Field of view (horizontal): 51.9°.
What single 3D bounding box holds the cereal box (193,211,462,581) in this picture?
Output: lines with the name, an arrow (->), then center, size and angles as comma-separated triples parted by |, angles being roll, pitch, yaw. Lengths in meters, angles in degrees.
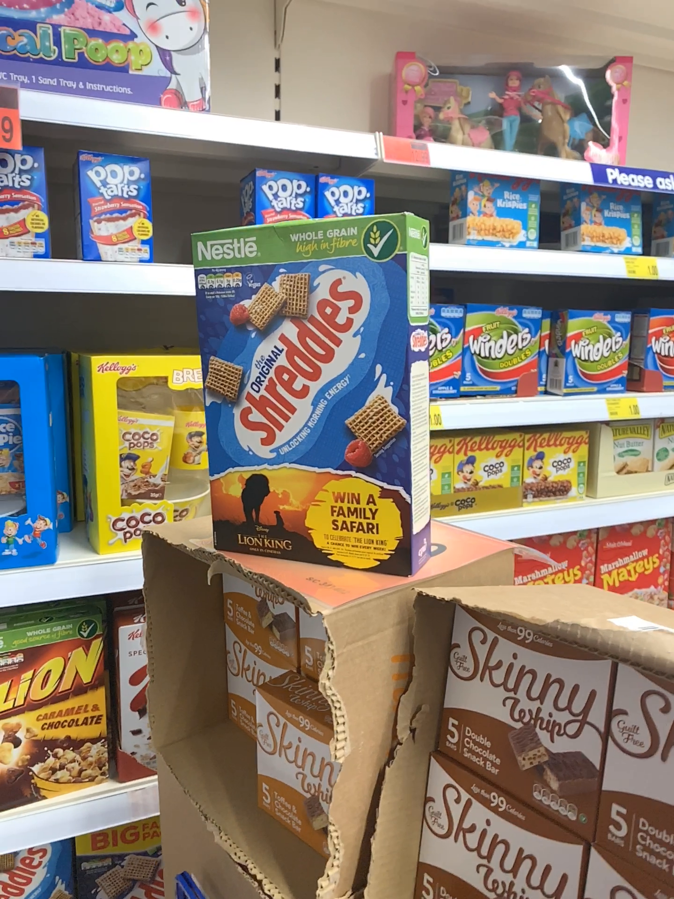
cereal box -> -0.007, -0.045, 0.582 | 0.210, 0.269, 0.070 | 3, 10, 27
